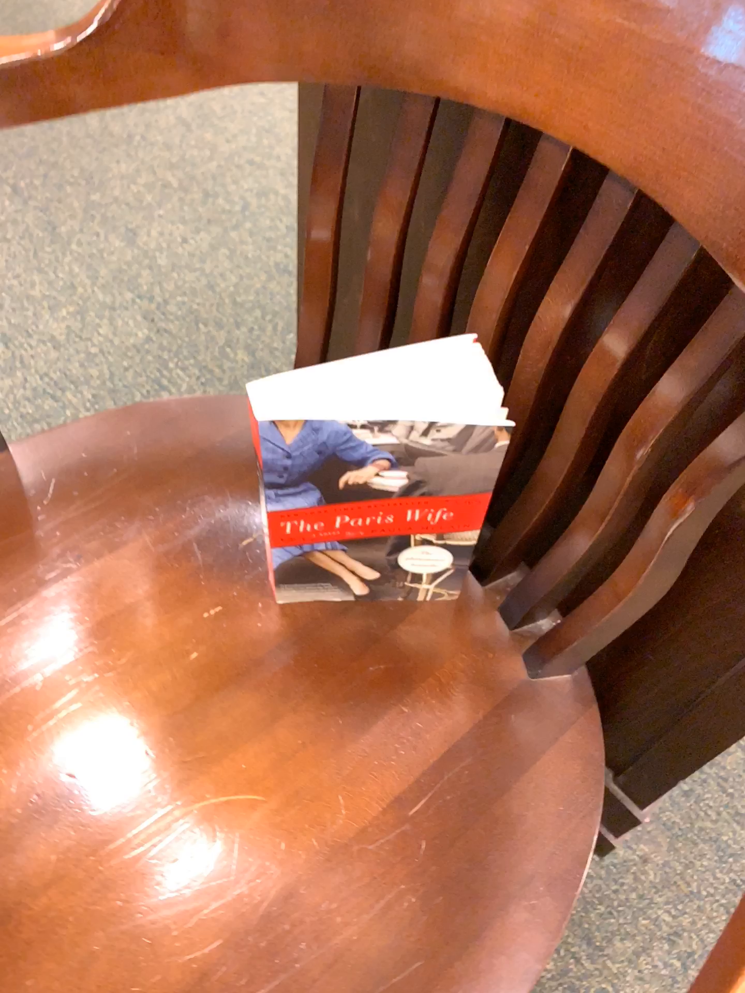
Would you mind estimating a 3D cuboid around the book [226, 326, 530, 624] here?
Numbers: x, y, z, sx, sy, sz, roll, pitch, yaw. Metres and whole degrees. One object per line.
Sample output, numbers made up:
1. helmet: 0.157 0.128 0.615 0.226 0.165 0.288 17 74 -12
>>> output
1. book: -0.007 -0.004 0.482 0.150 0.199 0.071 -5 56 -9
